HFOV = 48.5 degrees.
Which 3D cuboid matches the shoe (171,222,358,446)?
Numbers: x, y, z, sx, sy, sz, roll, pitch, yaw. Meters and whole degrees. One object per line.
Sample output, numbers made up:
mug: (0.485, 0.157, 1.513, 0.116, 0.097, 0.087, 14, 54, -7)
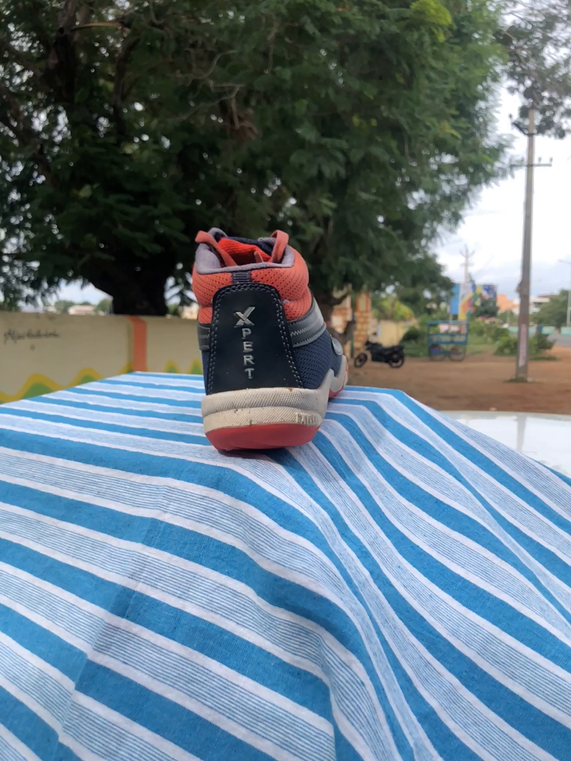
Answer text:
shoe: (-0.015, -0.037, 0.478, 0.100, 0.120, 0.270, 1, 5, -1)
